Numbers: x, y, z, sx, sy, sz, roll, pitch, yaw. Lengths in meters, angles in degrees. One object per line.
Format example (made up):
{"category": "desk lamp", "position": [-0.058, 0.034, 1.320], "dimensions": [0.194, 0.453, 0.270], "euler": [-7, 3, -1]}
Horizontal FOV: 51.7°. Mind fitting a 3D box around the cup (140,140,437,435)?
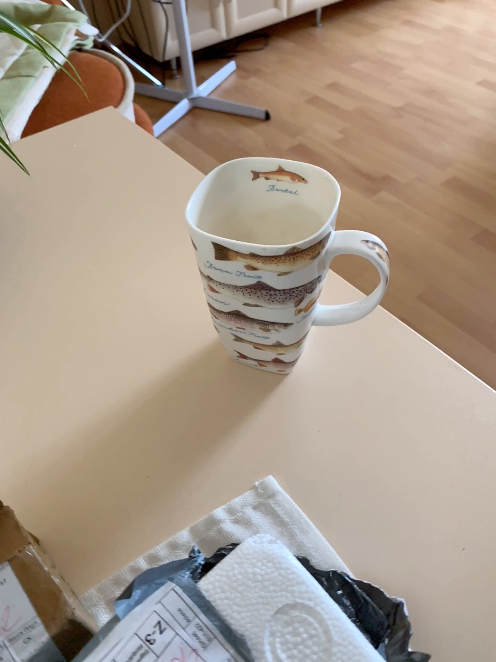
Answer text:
{"category": "cup", "position": [0.029, -0.029, 0.335], "dimensions": [0.140, 0.129, 0.101], "euler": [16, 52, 18]}
